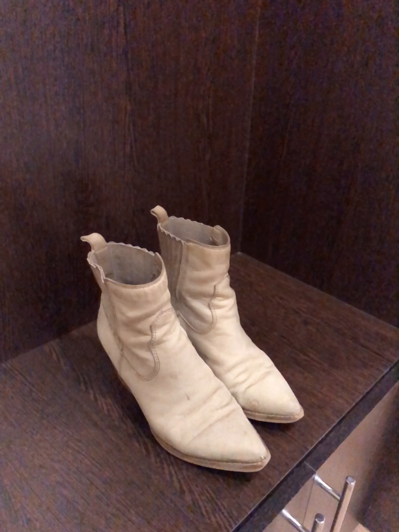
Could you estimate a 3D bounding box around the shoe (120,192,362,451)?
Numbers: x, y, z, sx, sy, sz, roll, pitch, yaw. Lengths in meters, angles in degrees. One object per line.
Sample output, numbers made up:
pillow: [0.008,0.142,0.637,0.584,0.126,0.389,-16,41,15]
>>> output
shoe: [0.026,0.043,0.527,0.100,0.169,0.281,-21,36,-33]

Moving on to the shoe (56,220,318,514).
shoe: [-0.028,0.085,0.473,0.100,0.169,0.271,-26,39,-36]
